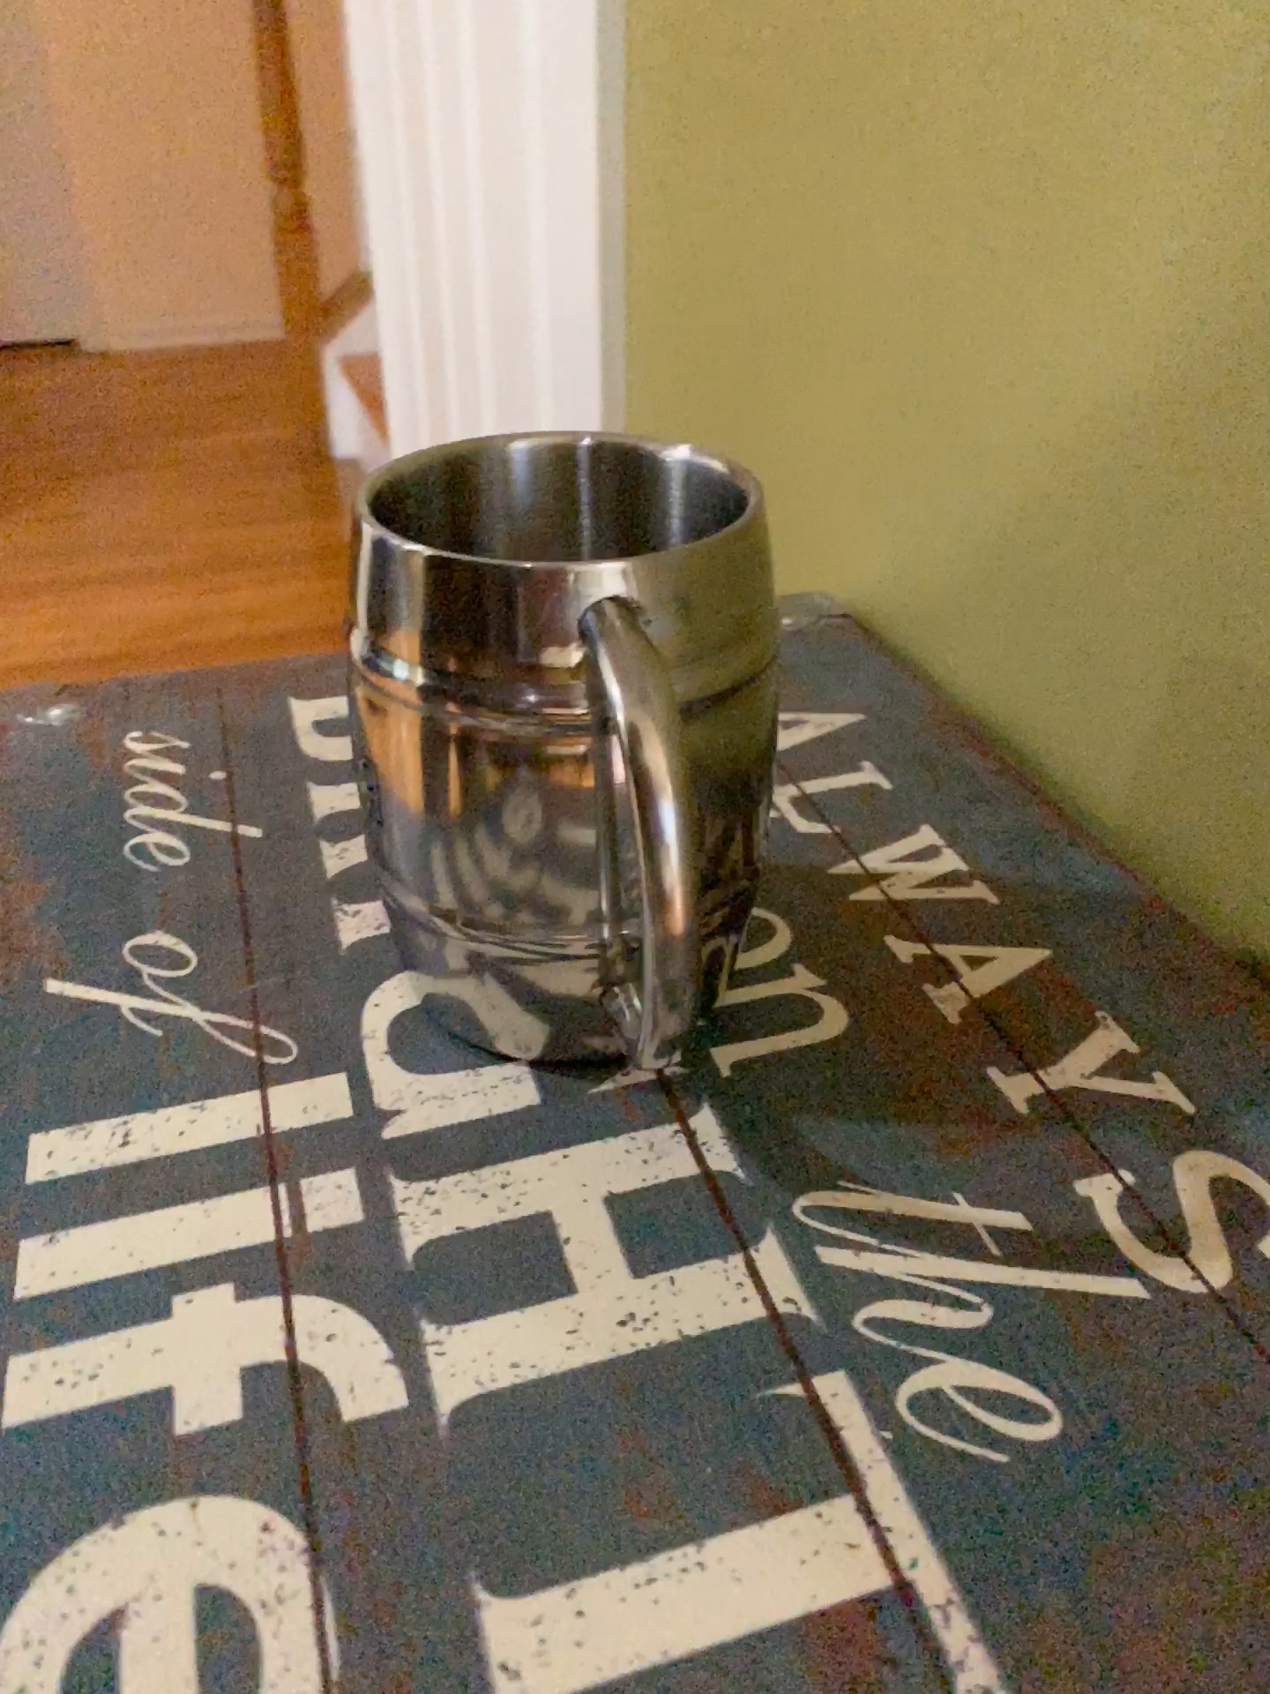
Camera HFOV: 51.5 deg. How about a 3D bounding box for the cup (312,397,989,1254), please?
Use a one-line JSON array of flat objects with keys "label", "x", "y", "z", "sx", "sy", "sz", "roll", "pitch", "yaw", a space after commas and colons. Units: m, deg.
[{"label": "cup", "x": -0.007, "y": -0.015, "z": 0.271, "sx": 0.089, "sy": 0.113, "sz": 0.129, "roll": -10, "pitch": 34, "yaw": -15}]
